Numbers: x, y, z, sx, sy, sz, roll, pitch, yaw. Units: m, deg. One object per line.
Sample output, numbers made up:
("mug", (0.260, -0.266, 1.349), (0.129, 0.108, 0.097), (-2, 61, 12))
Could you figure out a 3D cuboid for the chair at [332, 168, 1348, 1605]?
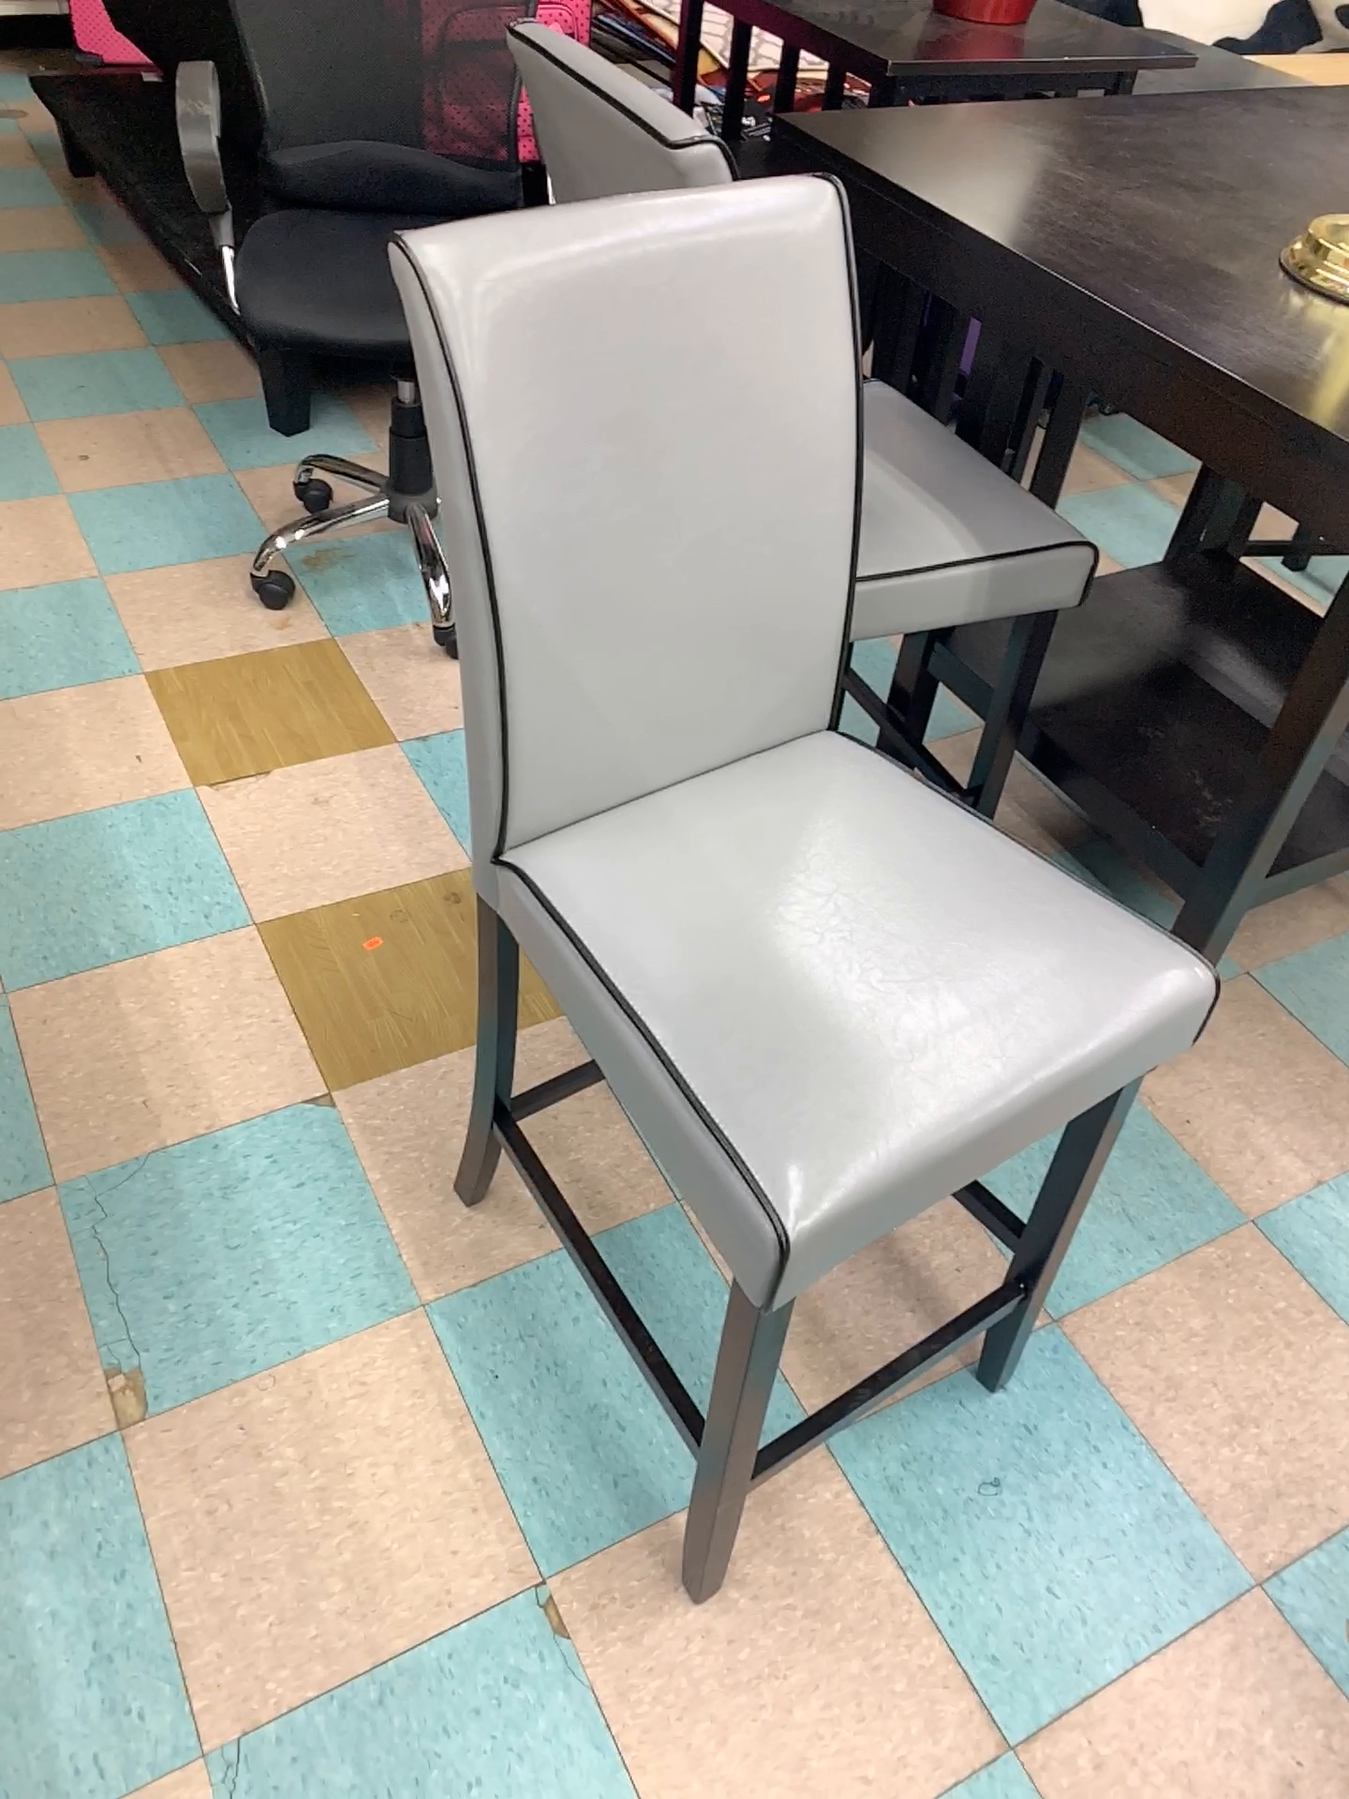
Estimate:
("chair", (0.087, 0.019, 1.109), (0.451, 0.930, 0.561), (-22, 51, -28))
